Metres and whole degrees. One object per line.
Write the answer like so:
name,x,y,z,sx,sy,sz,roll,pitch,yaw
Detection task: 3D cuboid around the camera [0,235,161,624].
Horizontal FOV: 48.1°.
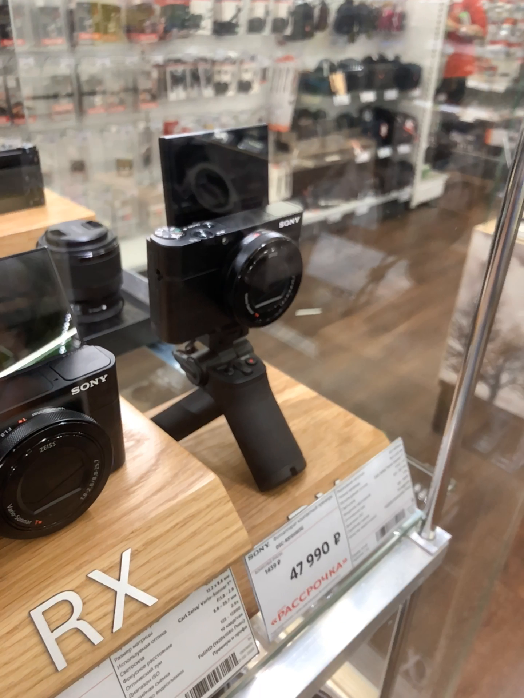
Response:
camera,-0.107,0.022,0.234,0.109,0.097,0.070,-24,40,-37

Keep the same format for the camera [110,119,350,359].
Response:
camera,-0.016,-0.067,0.326,0.109,0.097,0.062,-24,40,-37
